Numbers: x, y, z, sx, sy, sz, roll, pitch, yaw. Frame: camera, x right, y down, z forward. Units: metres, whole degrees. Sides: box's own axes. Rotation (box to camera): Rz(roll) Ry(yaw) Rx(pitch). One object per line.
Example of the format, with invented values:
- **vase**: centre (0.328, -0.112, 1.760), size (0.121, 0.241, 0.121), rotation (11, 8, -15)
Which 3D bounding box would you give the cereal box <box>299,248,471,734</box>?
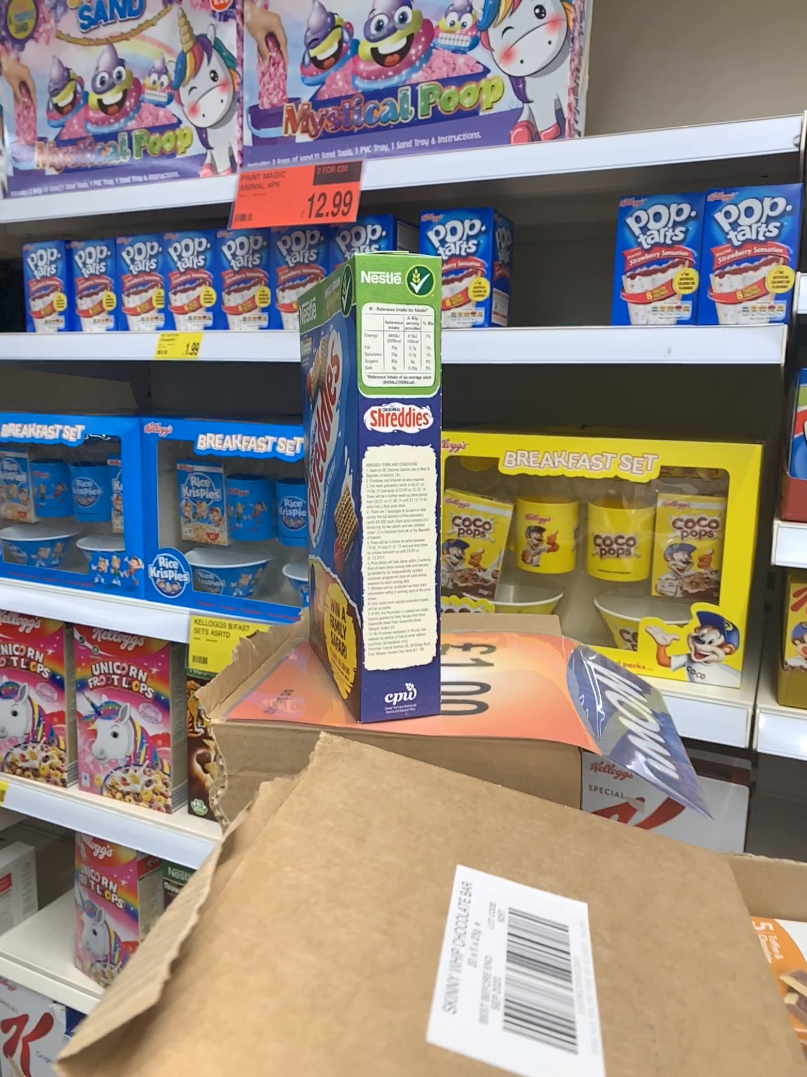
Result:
- **cereal box**: centre (-0.021, -0.038, 0.568), size (0.070, 0.269, 0.211), rotation (-2, 8, -14)
